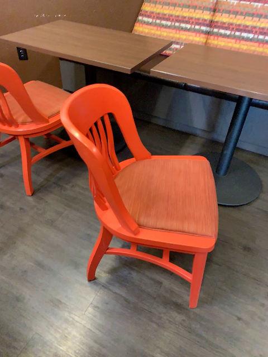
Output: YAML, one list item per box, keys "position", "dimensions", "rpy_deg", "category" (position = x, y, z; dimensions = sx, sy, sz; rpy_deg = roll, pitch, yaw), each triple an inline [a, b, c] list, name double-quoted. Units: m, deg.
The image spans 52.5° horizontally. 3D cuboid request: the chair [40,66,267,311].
- position: [0.064, 0.057, 1.153]
  dimensions: [0.580, 0.806, 0.563]
  rpy_deg: [7, 41, 4]
  category: "chair"
